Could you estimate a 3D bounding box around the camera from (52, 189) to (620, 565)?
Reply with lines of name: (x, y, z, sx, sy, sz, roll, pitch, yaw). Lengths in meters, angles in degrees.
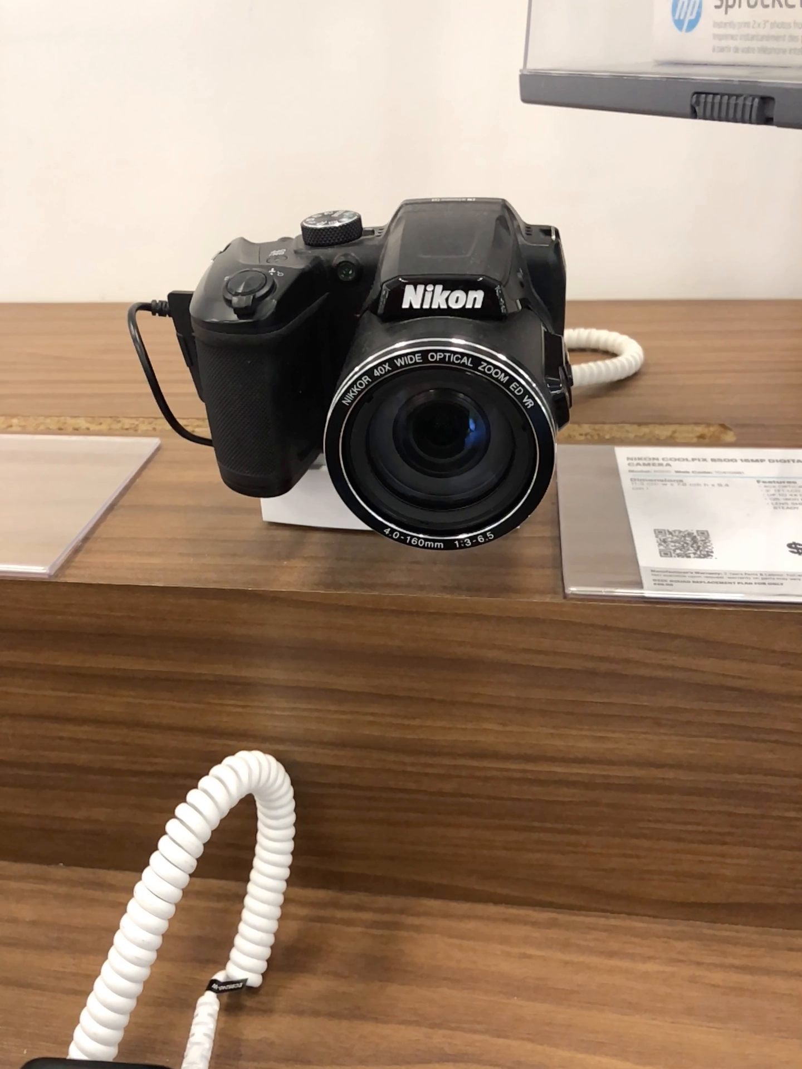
camera: (-0.009, -0.057, 0.276, 0.130, 0.070, 0.131, 1, 30, 6)
